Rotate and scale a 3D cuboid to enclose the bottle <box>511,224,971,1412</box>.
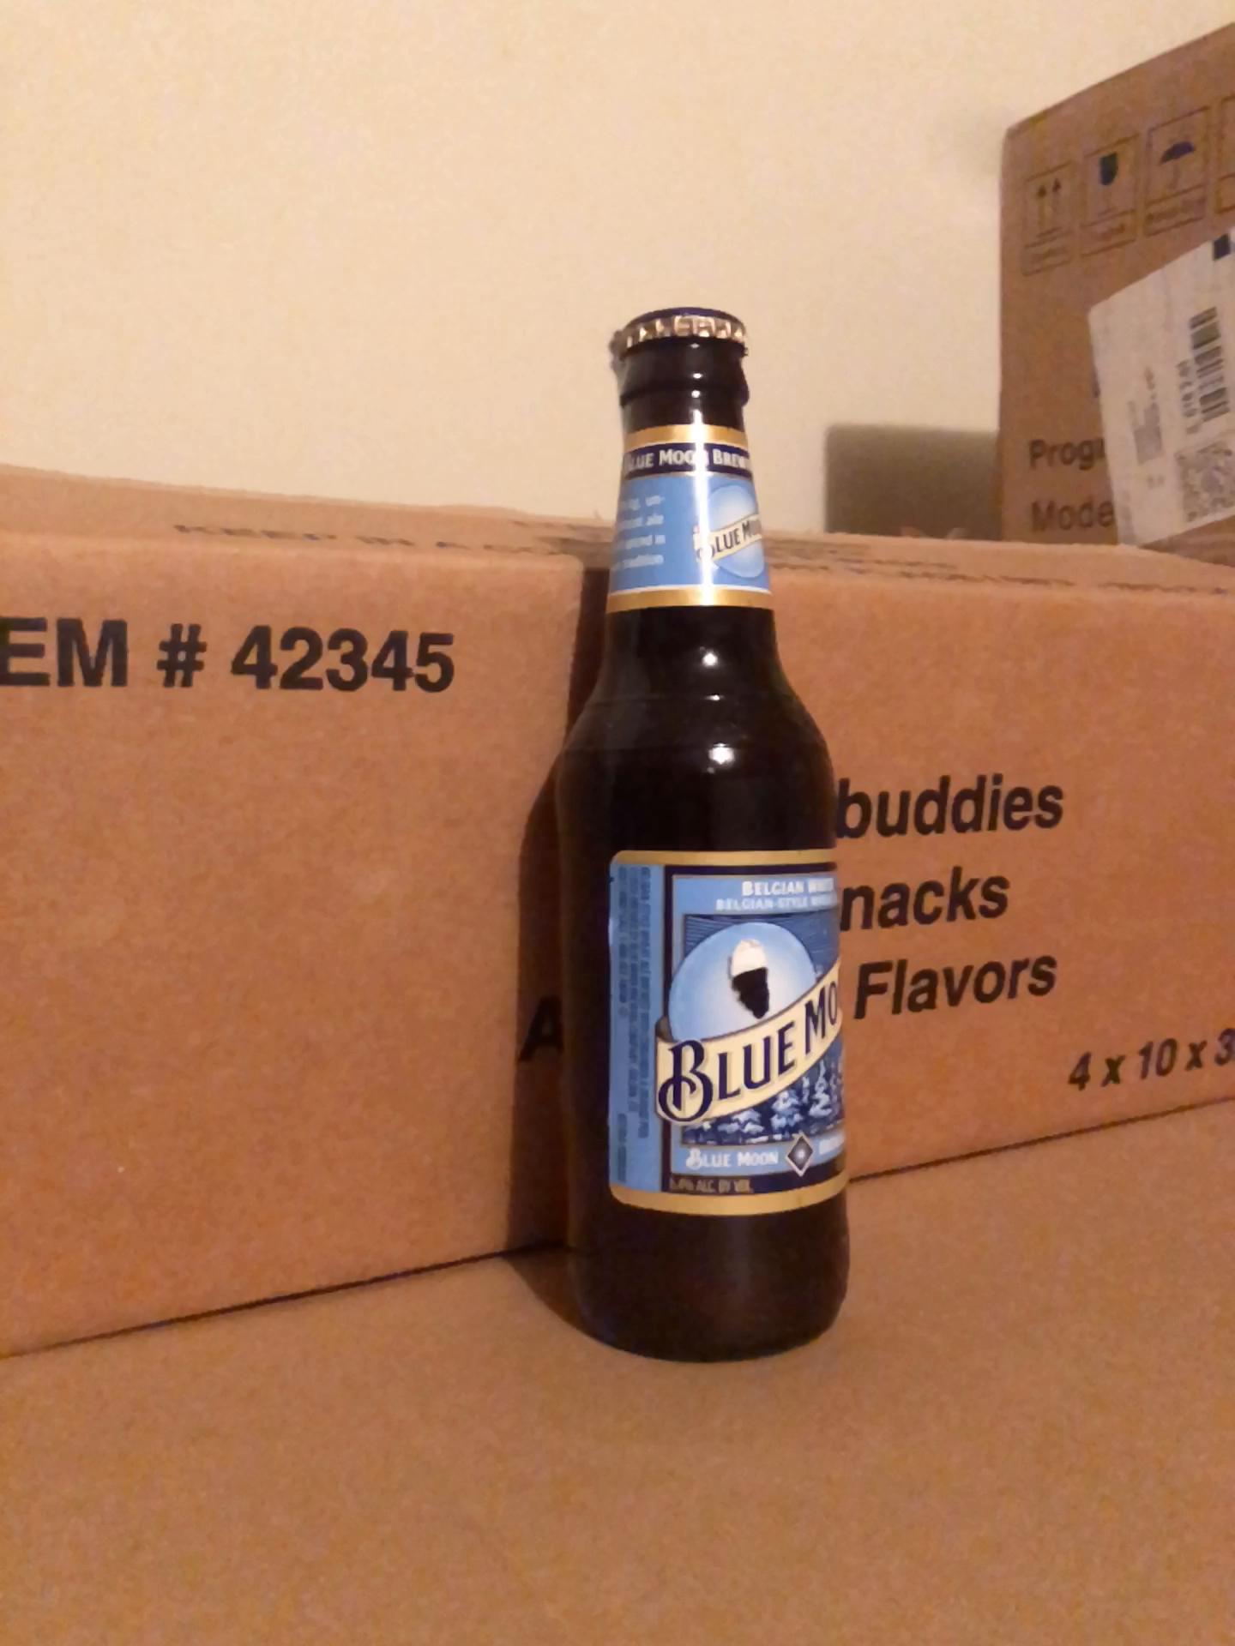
[{"bbox_3d":[0.024,-0.001,0.286,0.070,0.210,0.060,-4,6,-34],"label":"bottle"}]
